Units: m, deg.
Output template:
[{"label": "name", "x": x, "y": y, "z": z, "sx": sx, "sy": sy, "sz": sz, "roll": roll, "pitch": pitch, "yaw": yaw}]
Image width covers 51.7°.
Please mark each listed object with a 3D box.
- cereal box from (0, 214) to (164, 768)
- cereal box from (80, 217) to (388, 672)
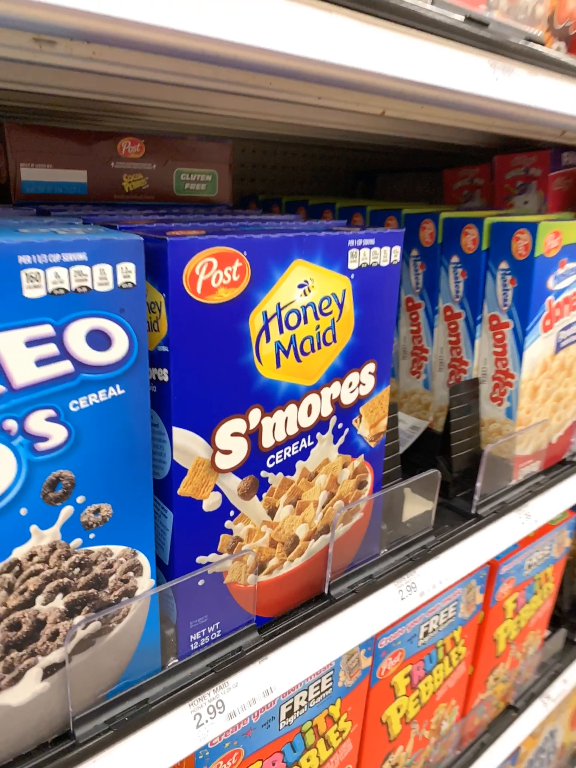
[{"label": "cereal box", "x": -0.162, "y": 0.060, "z": 0.285, "sx": 0.180, "sy": 0.269, "sz": 0.070, "roll": -14, "pitch": 24, "yaw": -40}, {"label": "cereal box", "x": -0.028, "y": 0.027, "z": 0.410, "sx": 0.190, "sy": 0.269, "sz": 0.060, "roll": -13, "pitch": 23, "yaw": -38}]
